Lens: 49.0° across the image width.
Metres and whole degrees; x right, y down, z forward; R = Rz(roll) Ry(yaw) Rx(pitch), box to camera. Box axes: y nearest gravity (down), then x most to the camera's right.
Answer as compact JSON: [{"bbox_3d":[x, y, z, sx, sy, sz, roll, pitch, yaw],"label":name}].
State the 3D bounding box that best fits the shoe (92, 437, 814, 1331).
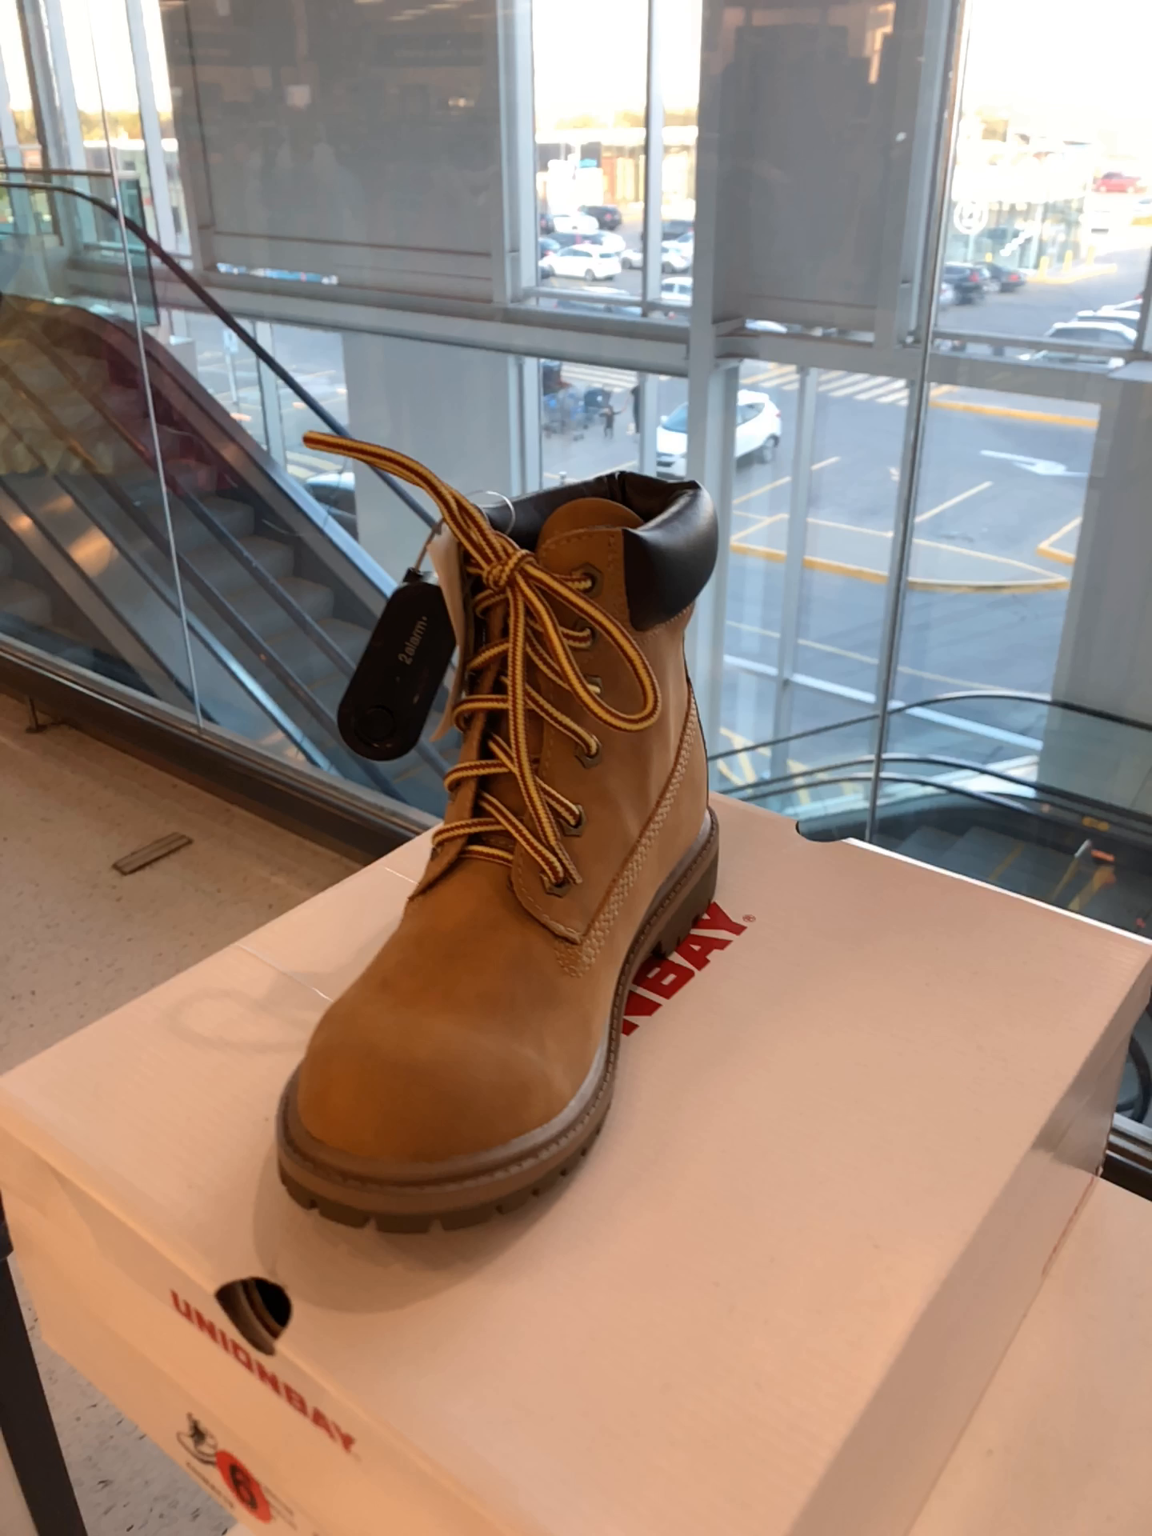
[{"bbox_3d":[-0.013,0.009,0.406,0.107,0.169,0.242,11,29,21],"label":"shoe"}]
